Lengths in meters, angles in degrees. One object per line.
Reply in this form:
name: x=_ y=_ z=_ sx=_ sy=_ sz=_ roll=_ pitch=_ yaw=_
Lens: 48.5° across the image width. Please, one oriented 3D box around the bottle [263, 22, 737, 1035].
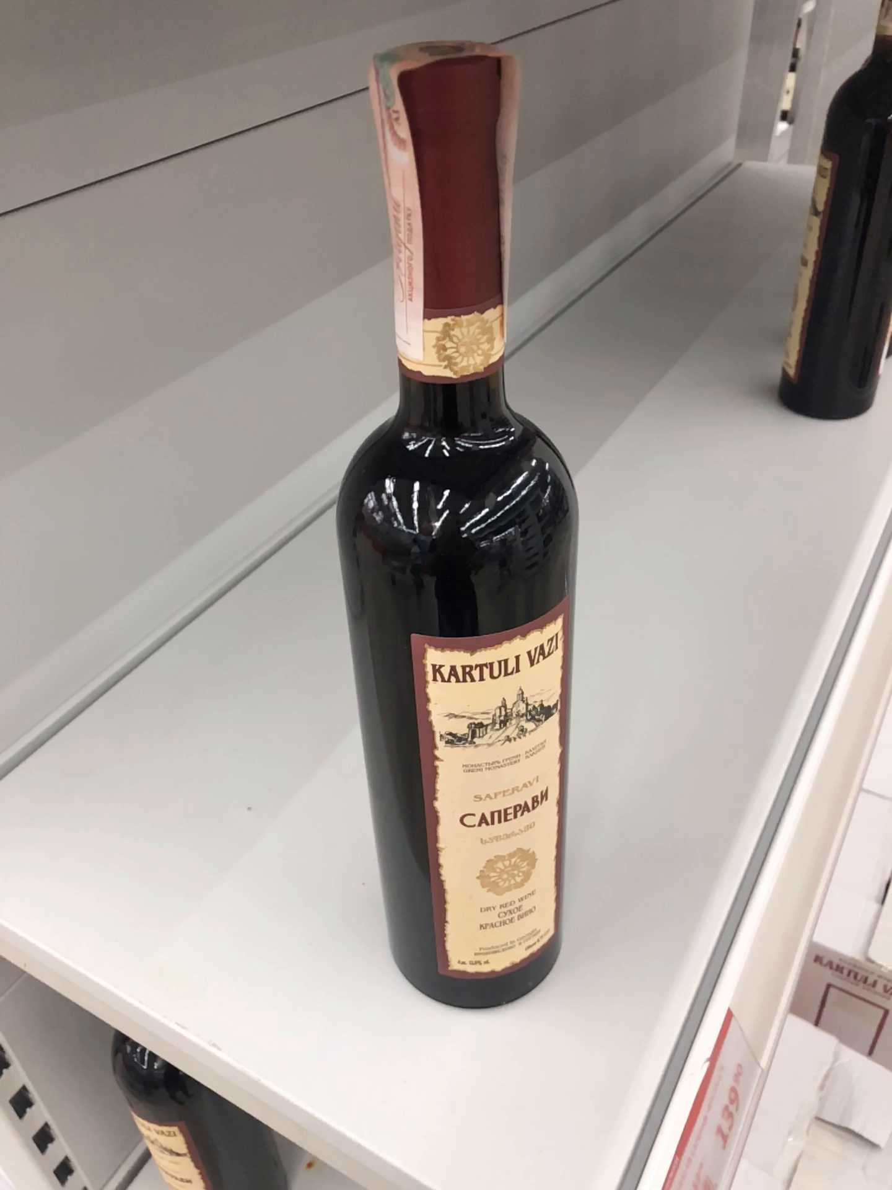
bottle: x=0.013 y=0.007 z=0.296 sx=0.079 sy=0.299 sz=0.069 roll=-14 pitch=38 yaw=-14
